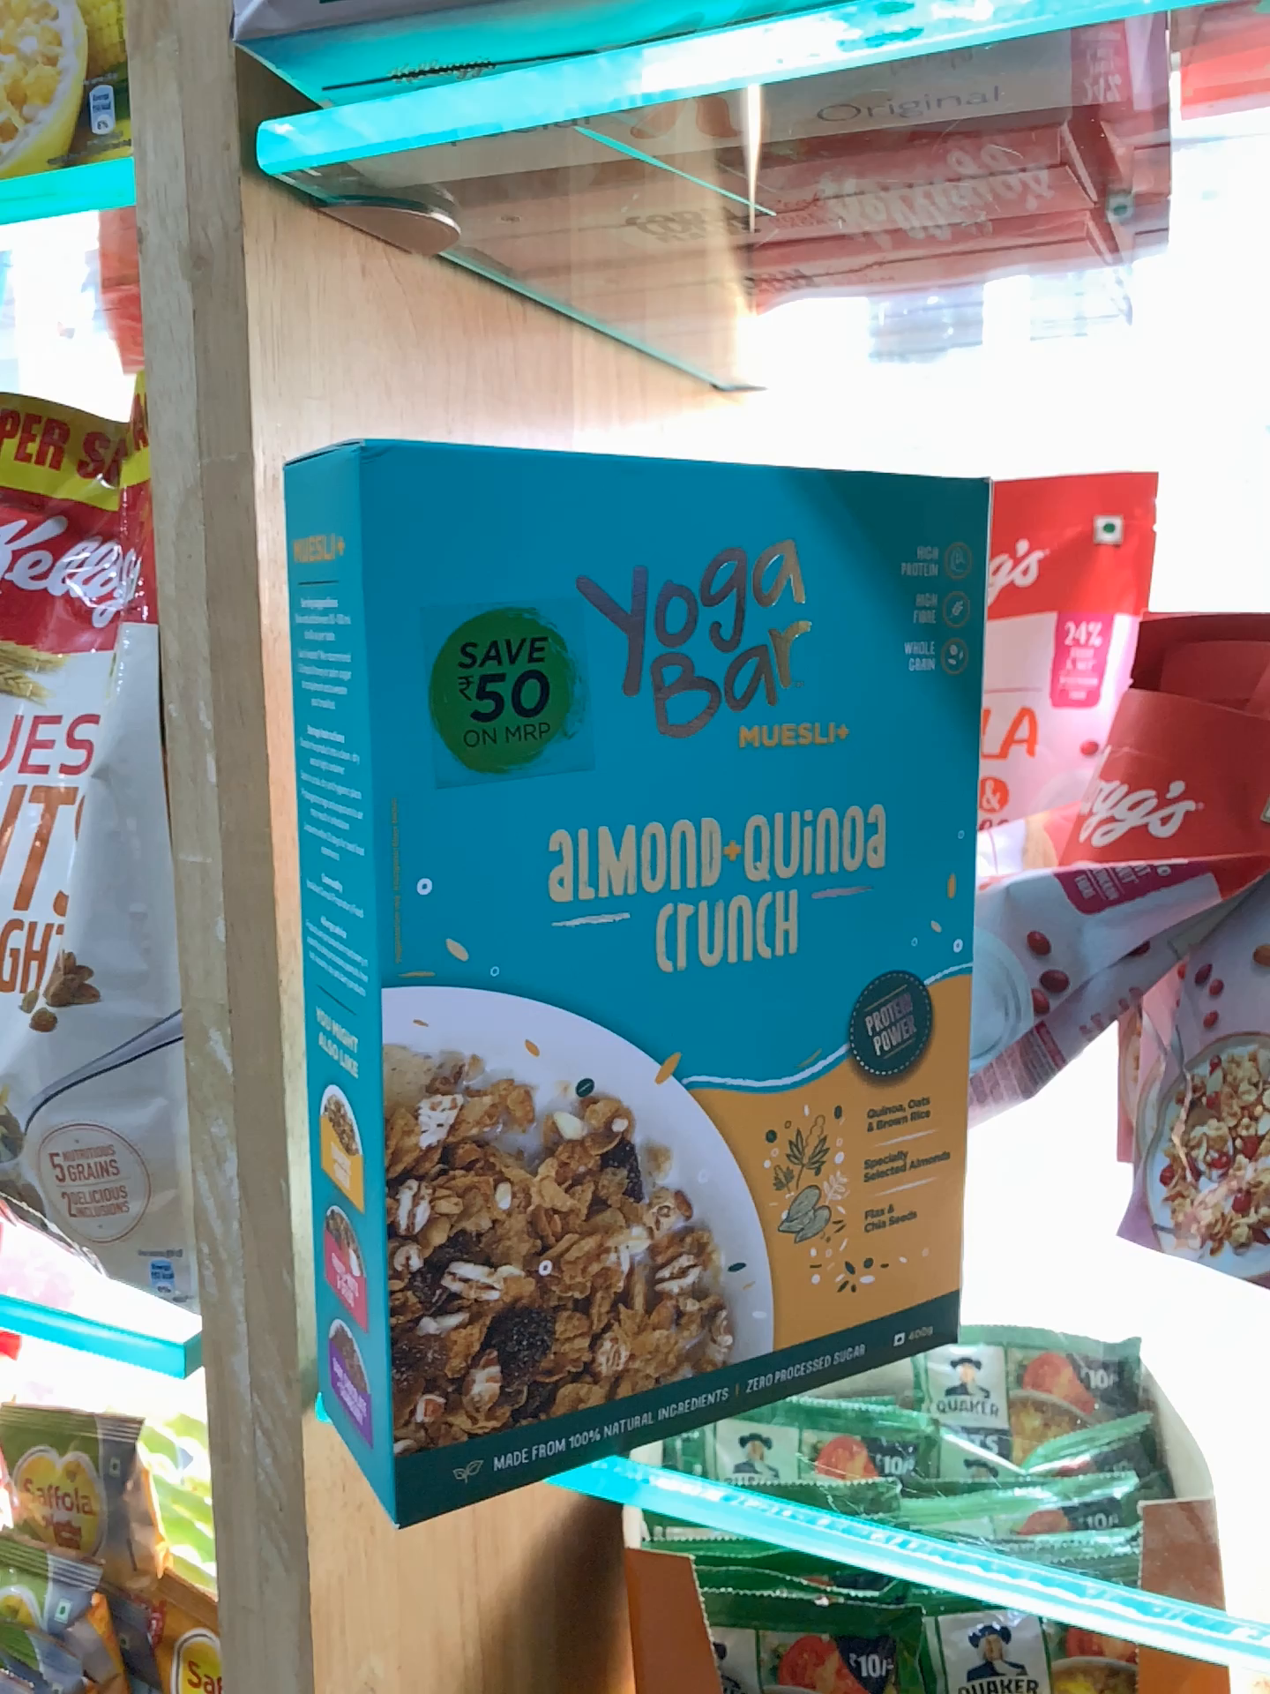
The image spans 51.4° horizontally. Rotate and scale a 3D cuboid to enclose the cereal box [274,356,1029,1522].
[{"bbox_3d":[0.008,0.013,0.309,0.160,0.219,0.060,-5,9,-29],"label":"cereal box"}]
